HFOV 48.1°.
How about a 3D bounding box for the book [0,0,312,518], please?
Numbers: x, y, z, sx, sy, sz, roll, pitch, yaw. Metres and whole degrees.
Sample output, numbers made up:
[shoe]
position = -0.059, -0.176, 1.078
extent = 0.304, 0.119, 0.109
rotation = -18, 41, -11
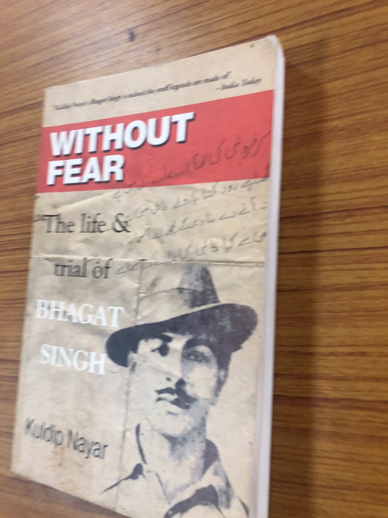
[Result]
[book]
position = -0.025, 0.005, 0.198
extent = 0.140, 0.030, 0.210
rotation = 1, 85, 29
